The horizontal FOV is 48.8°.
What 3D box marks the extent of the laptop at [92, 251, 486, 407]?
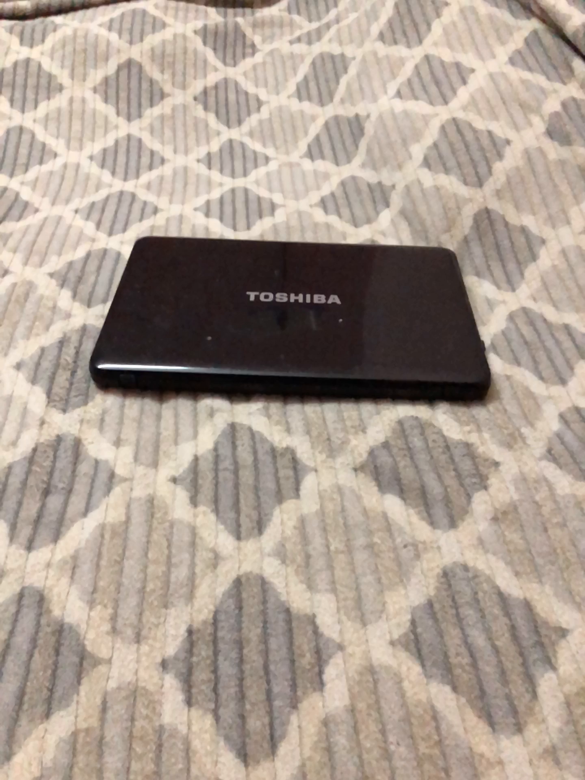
[{"bbox_3d":[-0.003,-0.079,0.718,0.375,0.023,0.250,2,40,0],"label":"laptop"}]
